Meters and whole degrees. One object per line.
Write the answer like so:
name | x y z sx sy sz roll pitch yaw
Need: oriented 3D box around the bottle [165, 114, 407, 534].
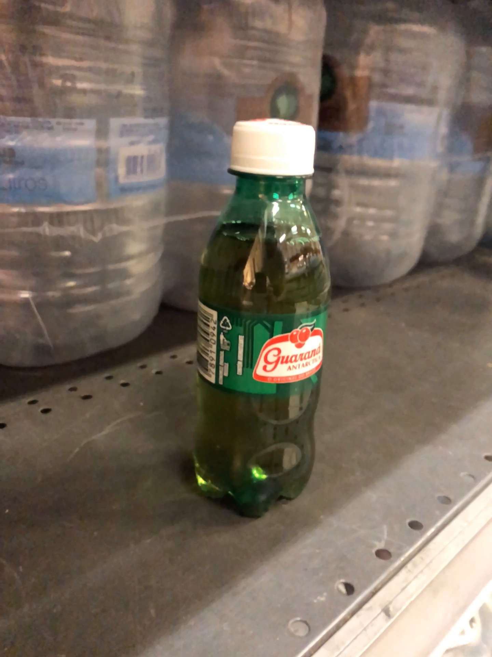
bottle | 0.010 -0.005 0.227 0.060 0.149 0.060 4 22 -2
